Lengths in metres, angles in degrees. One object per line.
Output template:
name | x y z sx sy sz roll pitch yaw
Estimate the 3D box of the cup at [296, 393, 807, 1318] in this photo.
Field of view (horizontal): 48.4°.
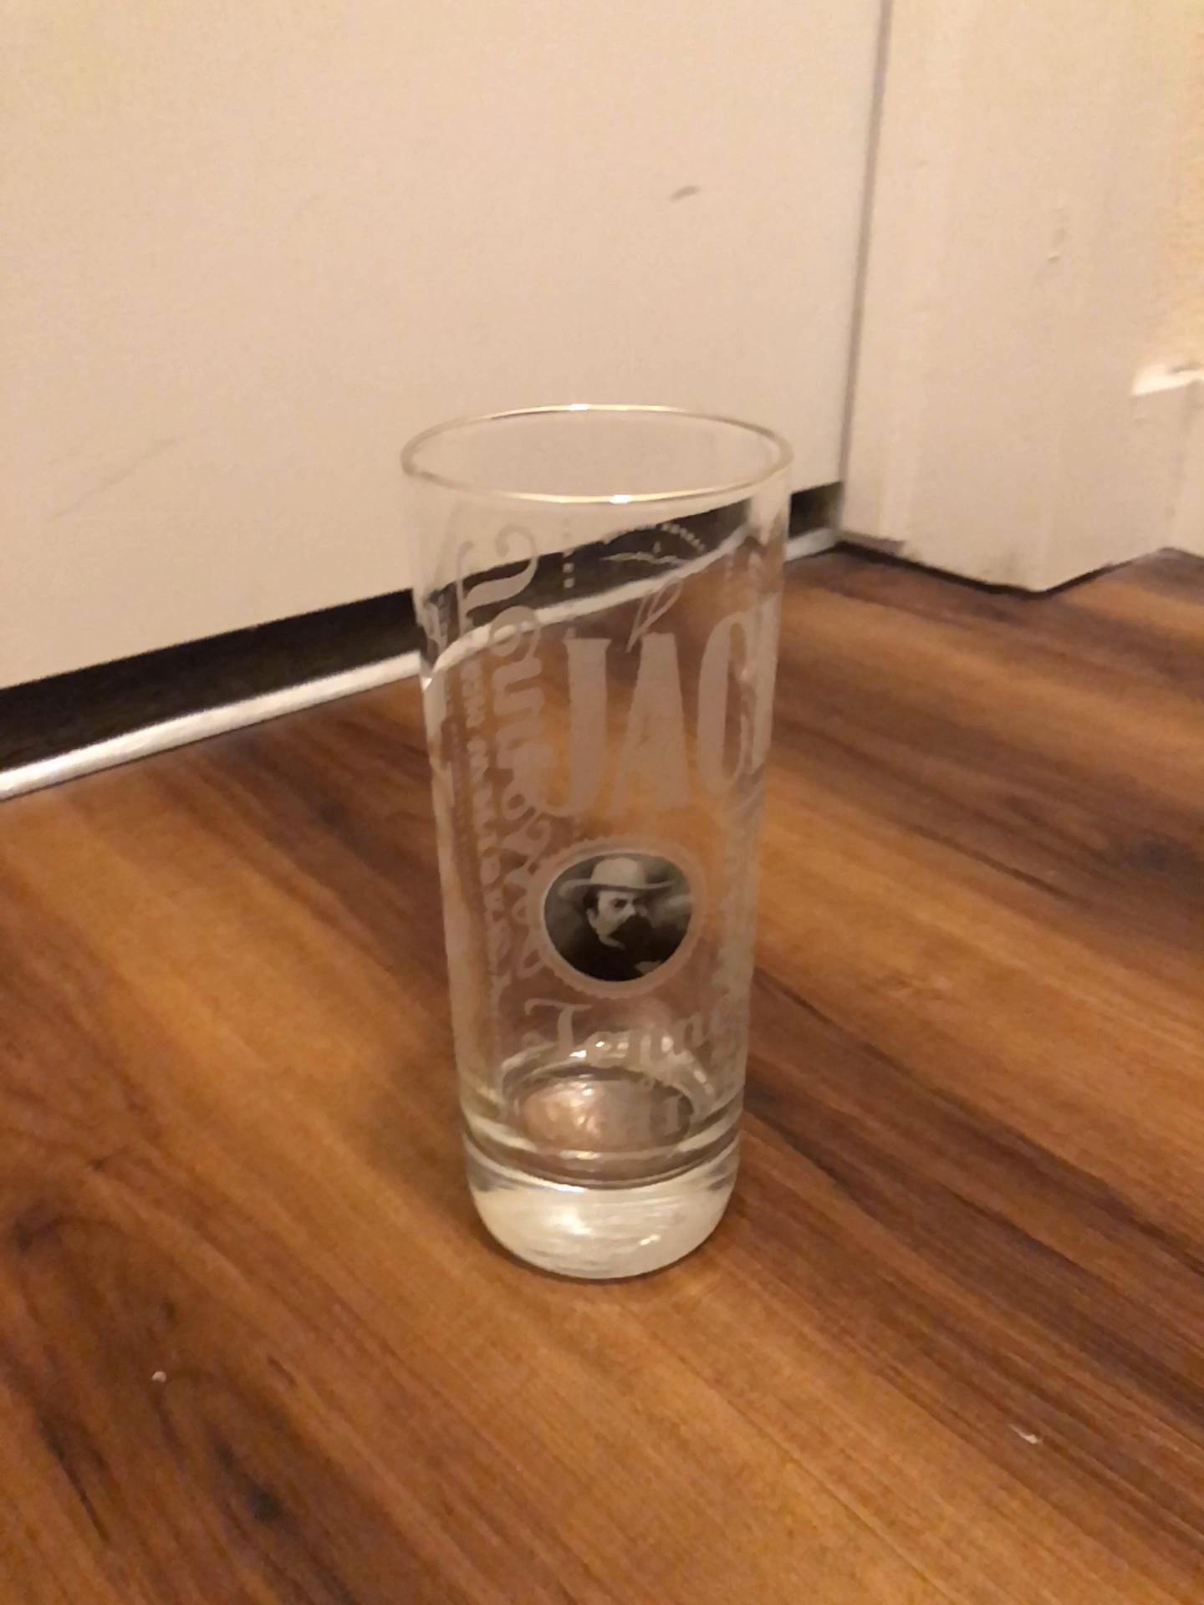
cup | -0.006 0.011 0.240 0.067 0.150 0.068 0 27 0
